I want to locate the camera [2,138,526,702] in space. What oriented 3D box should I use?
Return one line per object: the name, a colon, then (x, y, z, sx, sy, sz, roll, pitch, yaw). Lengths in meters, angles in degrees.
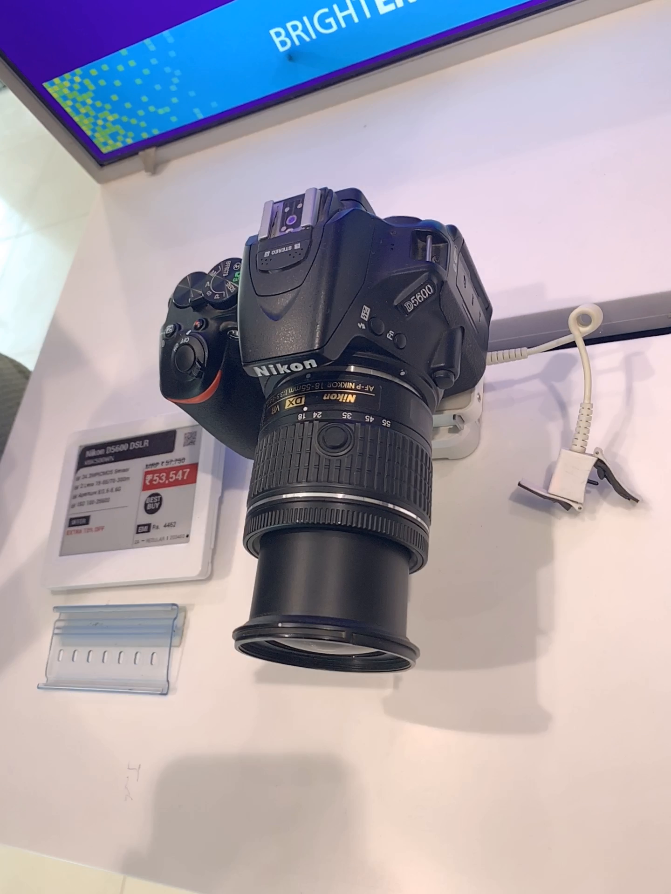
camera: (-0.010, 0.003, 0.233, 0.117, 0.100, 0.141, -10, 59, 25)
